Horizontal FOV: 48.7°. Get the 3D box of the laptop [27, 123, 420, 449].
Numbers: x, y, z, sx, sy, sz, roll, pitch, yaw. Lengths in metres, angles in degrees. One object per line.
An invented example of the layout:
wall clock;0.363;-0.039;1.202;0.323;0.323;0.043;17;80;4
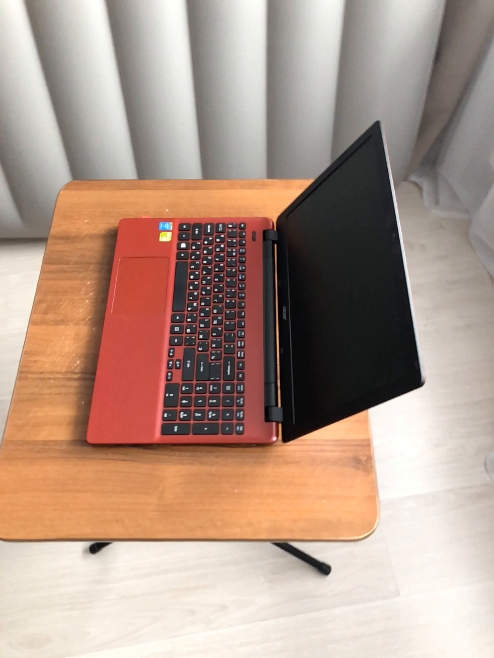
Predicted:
laptop;-0.021;-0.060;0.704;0.381;0.191;0.372;1;60;2
